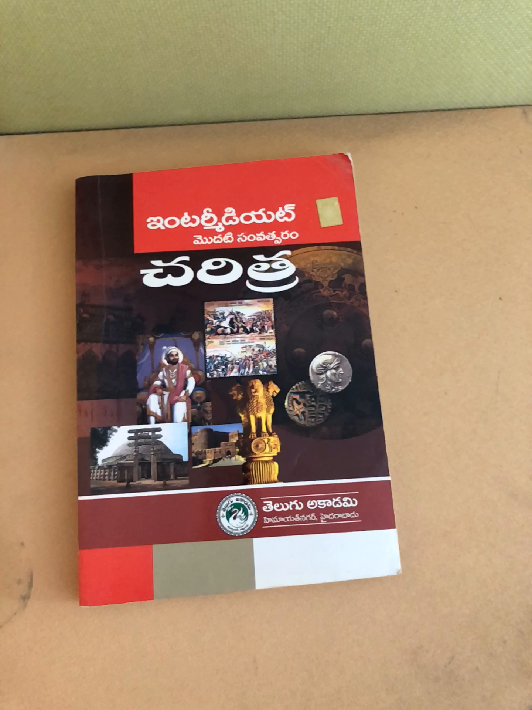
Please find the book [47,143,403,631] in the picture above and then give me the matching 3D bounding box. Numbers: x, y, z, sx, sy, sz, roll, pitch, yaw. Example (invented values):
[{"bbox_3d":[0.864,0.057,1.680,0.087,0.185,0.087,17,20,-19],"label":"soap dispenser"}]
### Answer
[{"bbox_3d":[-0.034,0.009,0.381,0.200,0.030,0.290,-5,78,-2],"label":"book"}]
